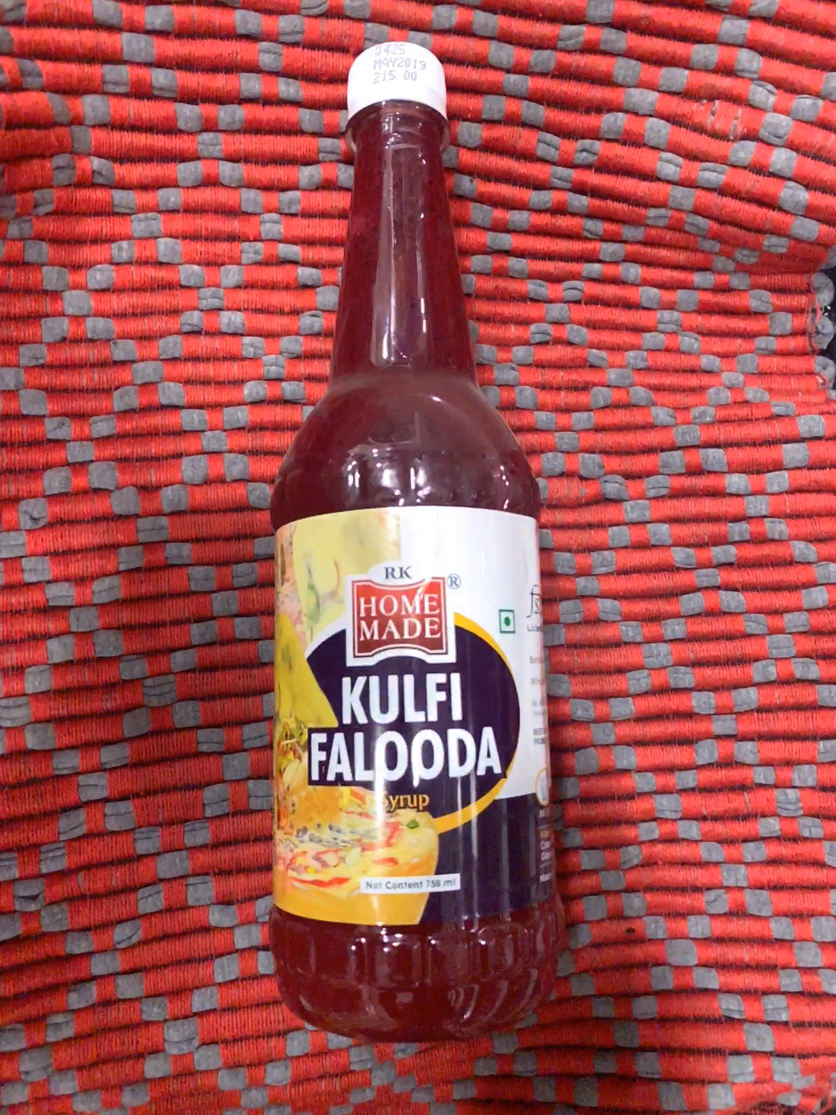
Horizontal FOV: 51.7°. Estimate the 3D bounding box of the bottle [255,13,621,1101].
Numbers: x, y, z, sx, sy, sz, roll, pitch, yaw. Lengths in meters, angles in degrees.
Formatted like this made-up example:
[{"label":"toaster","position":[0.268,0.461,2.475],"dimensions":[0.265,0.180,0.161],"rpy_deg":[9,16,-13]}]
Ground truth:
[{"label":"bottle","position":[-0.006,-0.012,0.229],"dimensions":[0.070,0.070,0.250],"rpy_deg":[0,74,-9]}]
